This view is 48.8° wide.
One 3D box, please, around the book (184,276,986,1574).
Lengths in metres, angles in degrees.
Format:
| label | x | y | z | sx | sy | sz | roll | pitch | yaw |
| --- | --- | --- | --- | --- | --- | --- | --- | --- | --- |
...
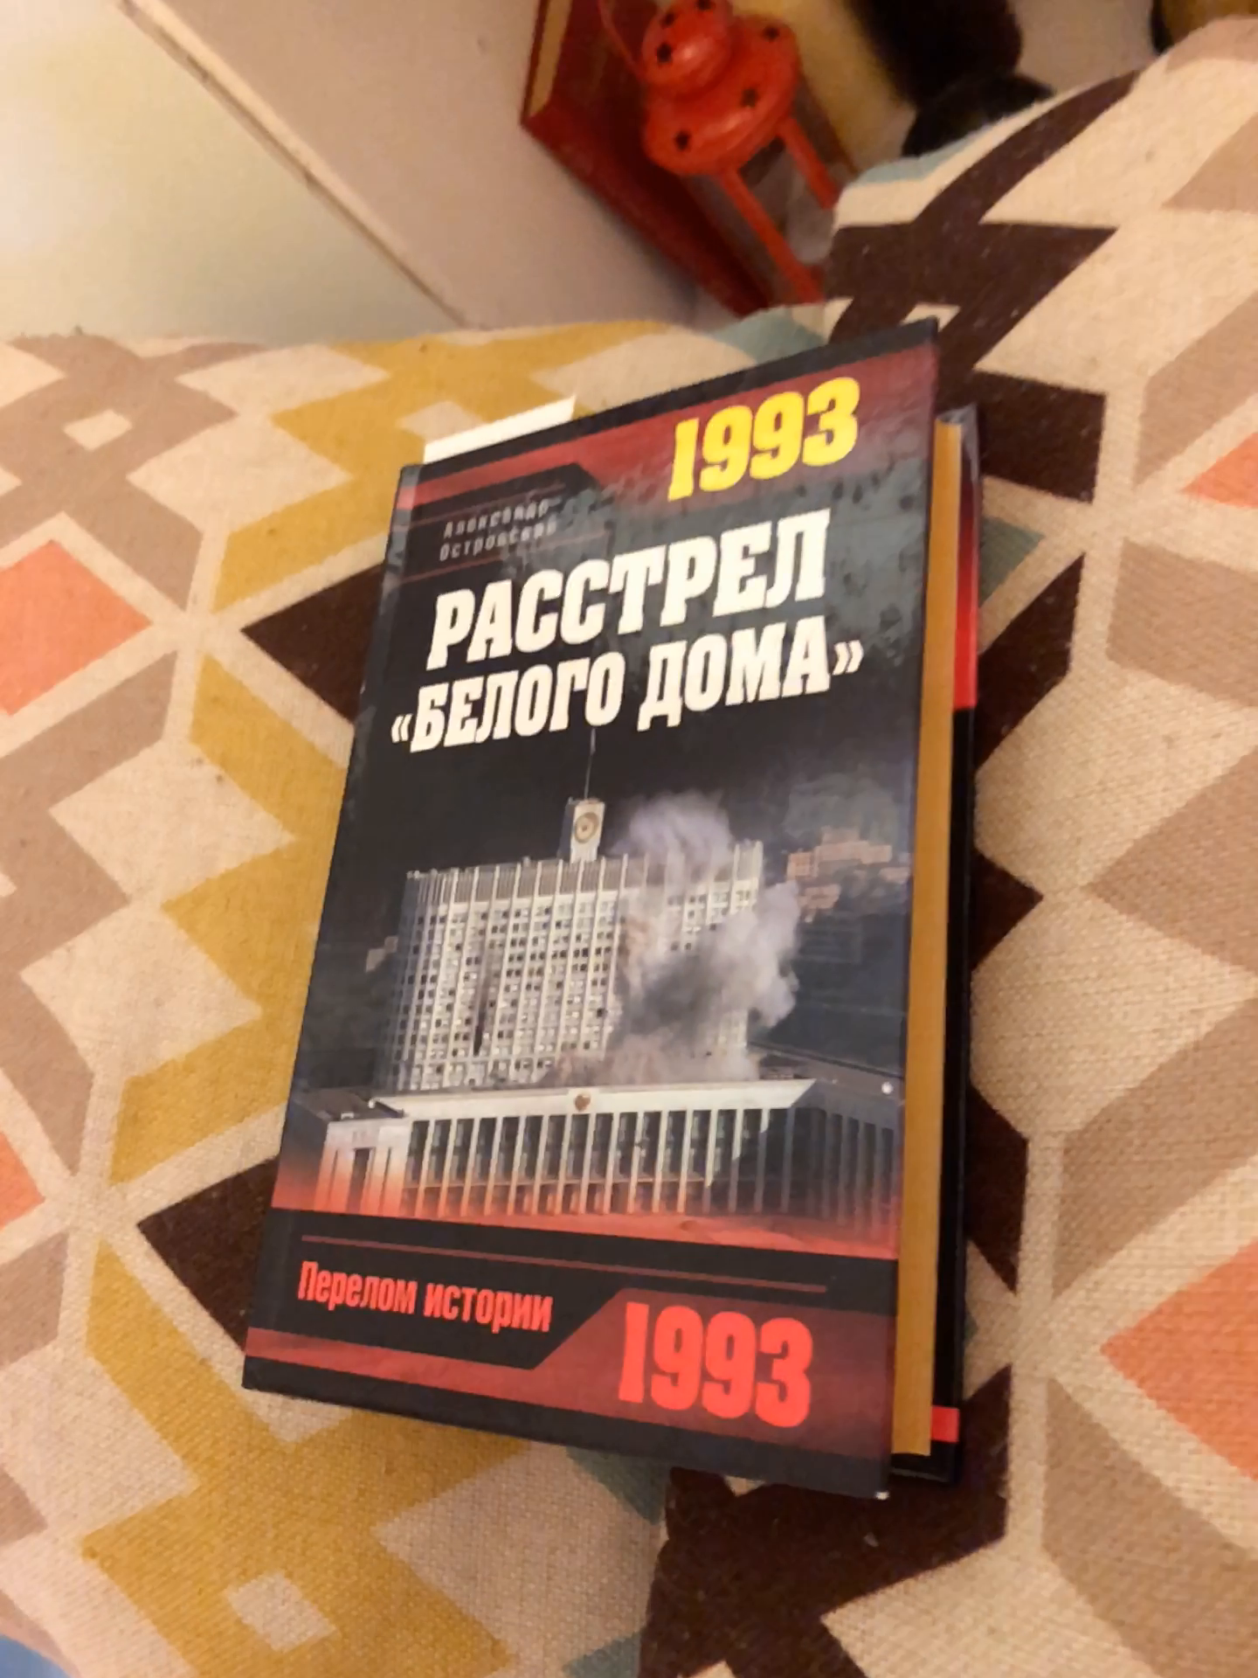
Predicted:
| label | x | y | z | sx | sy | sz | roll | pitch | yaw |
| --- | --- | --- | --- | --- | --- | --- | --- | --- | --- |
| book | -0.006 | 0.009 | 0.265 | 0.140 | 0.030 | 0.210 | -7 | 67 | 33 |
